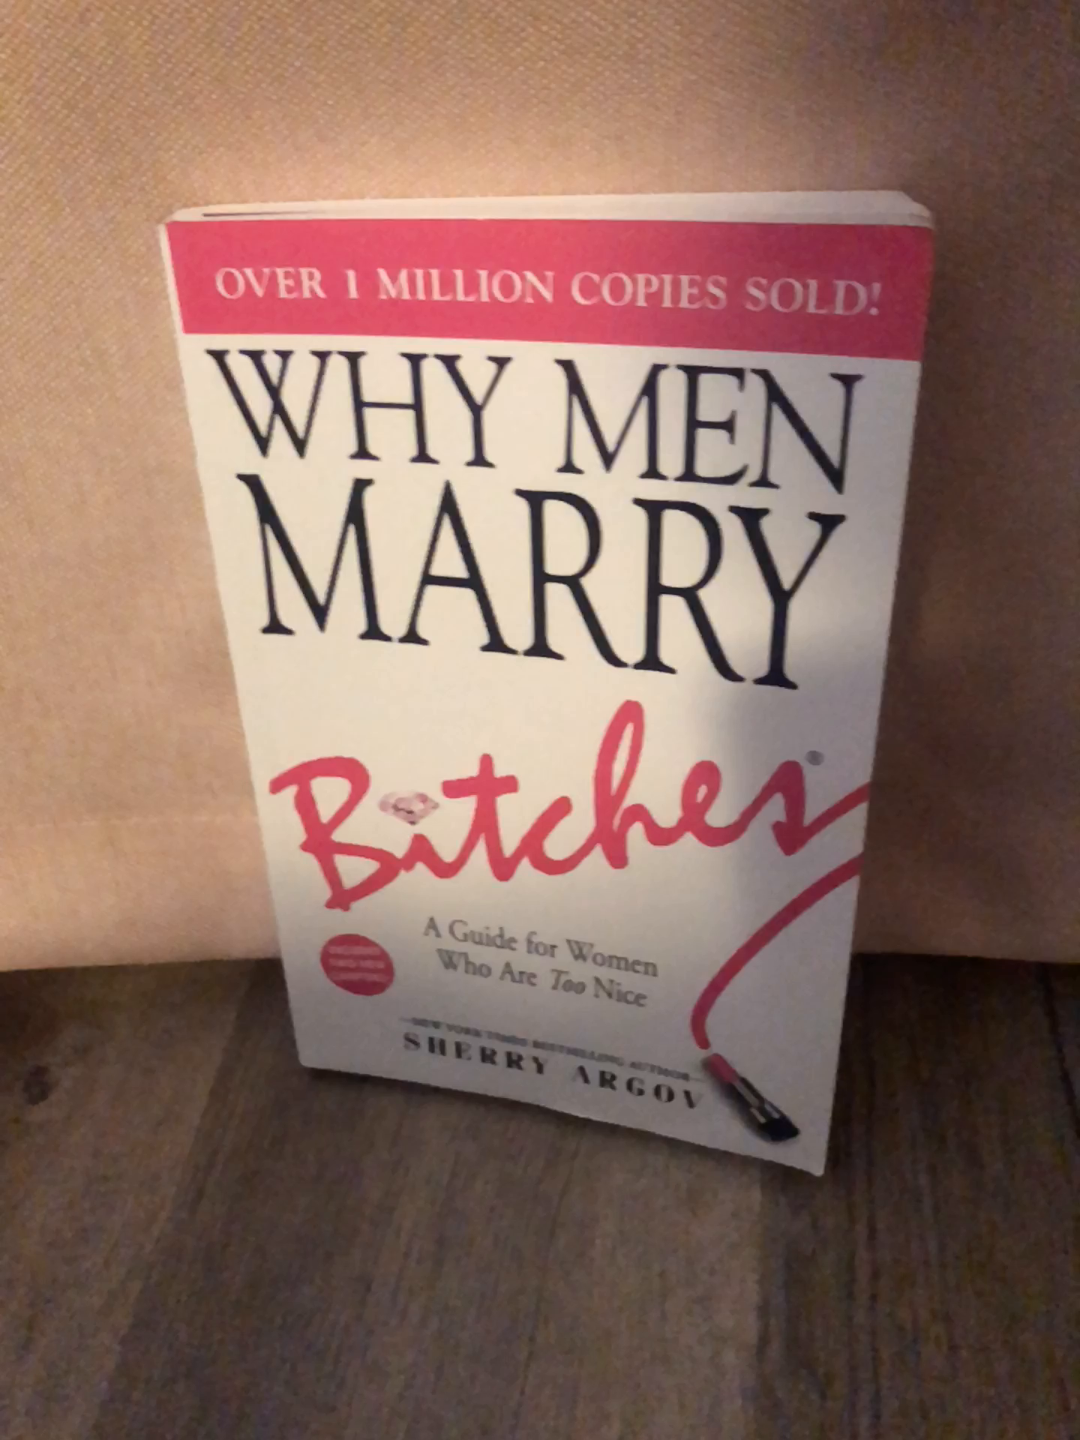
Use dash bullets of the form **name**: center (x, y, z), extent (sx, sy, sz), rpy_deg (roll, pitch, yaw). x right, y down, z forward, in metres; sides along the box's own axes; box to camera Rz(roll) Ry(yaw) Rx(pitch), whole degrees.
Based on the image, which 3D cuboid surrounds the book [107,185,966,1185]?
- **book**: center (0.000, 0.001, 0.274), extent (0.150, 0.219, 0.037), rpy_deg (7, 31, 13)
